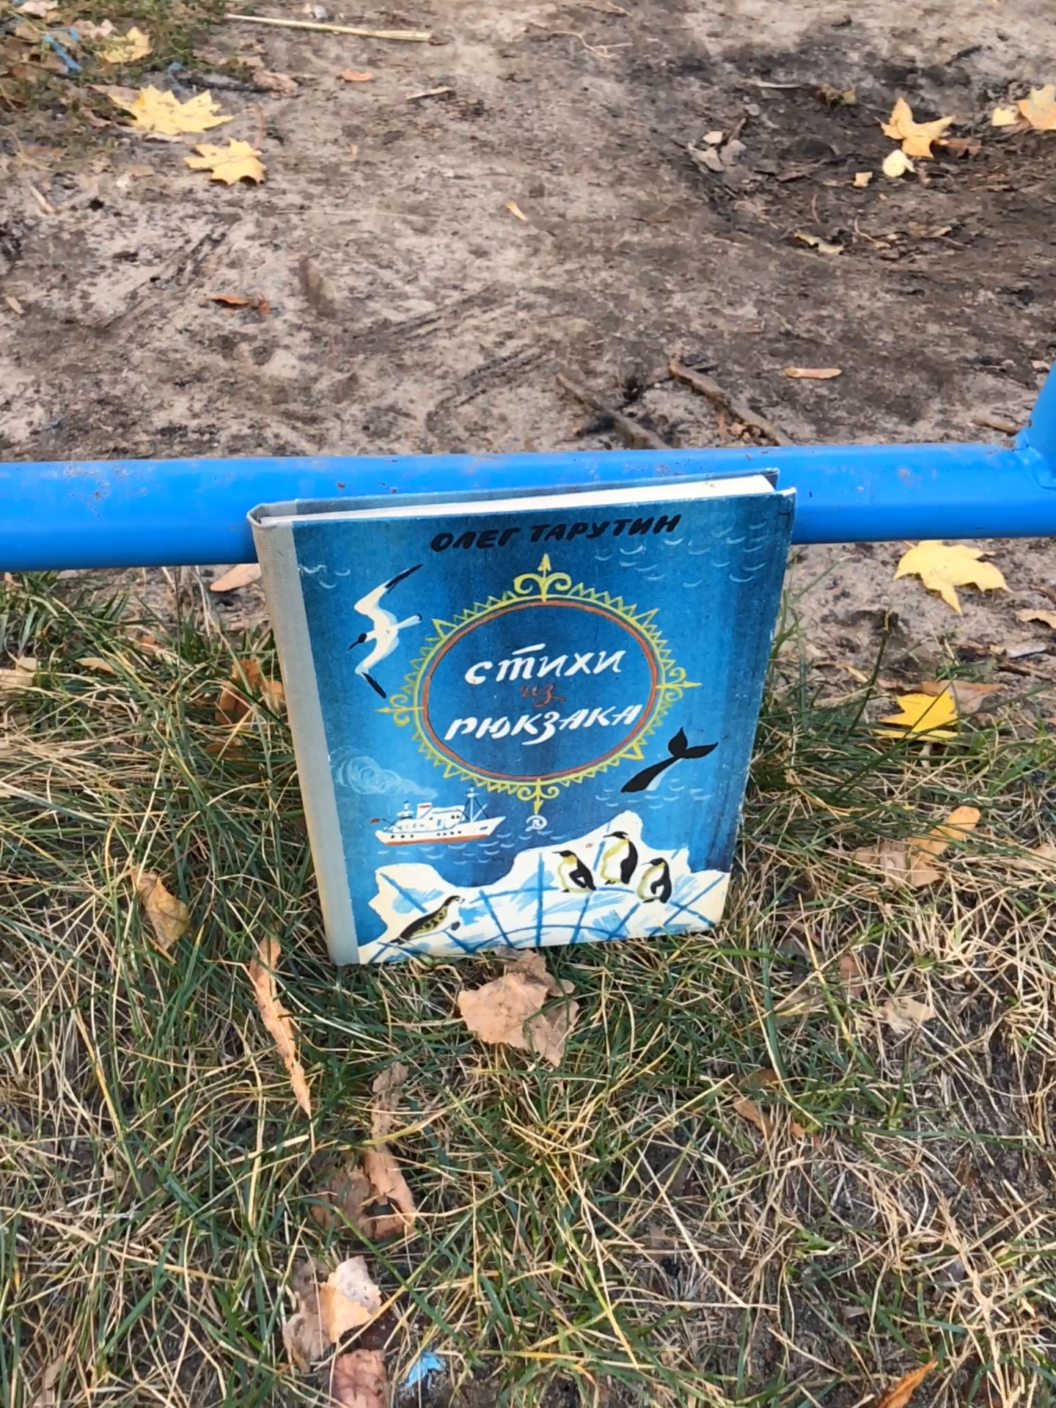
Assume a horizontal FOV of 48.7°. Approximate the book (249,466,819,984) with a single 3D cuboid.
[{"bbox_3d":[-0.001,0.016,0.431,0.179,0.209,0.023,-4,38,-10],"label":"book"}]
